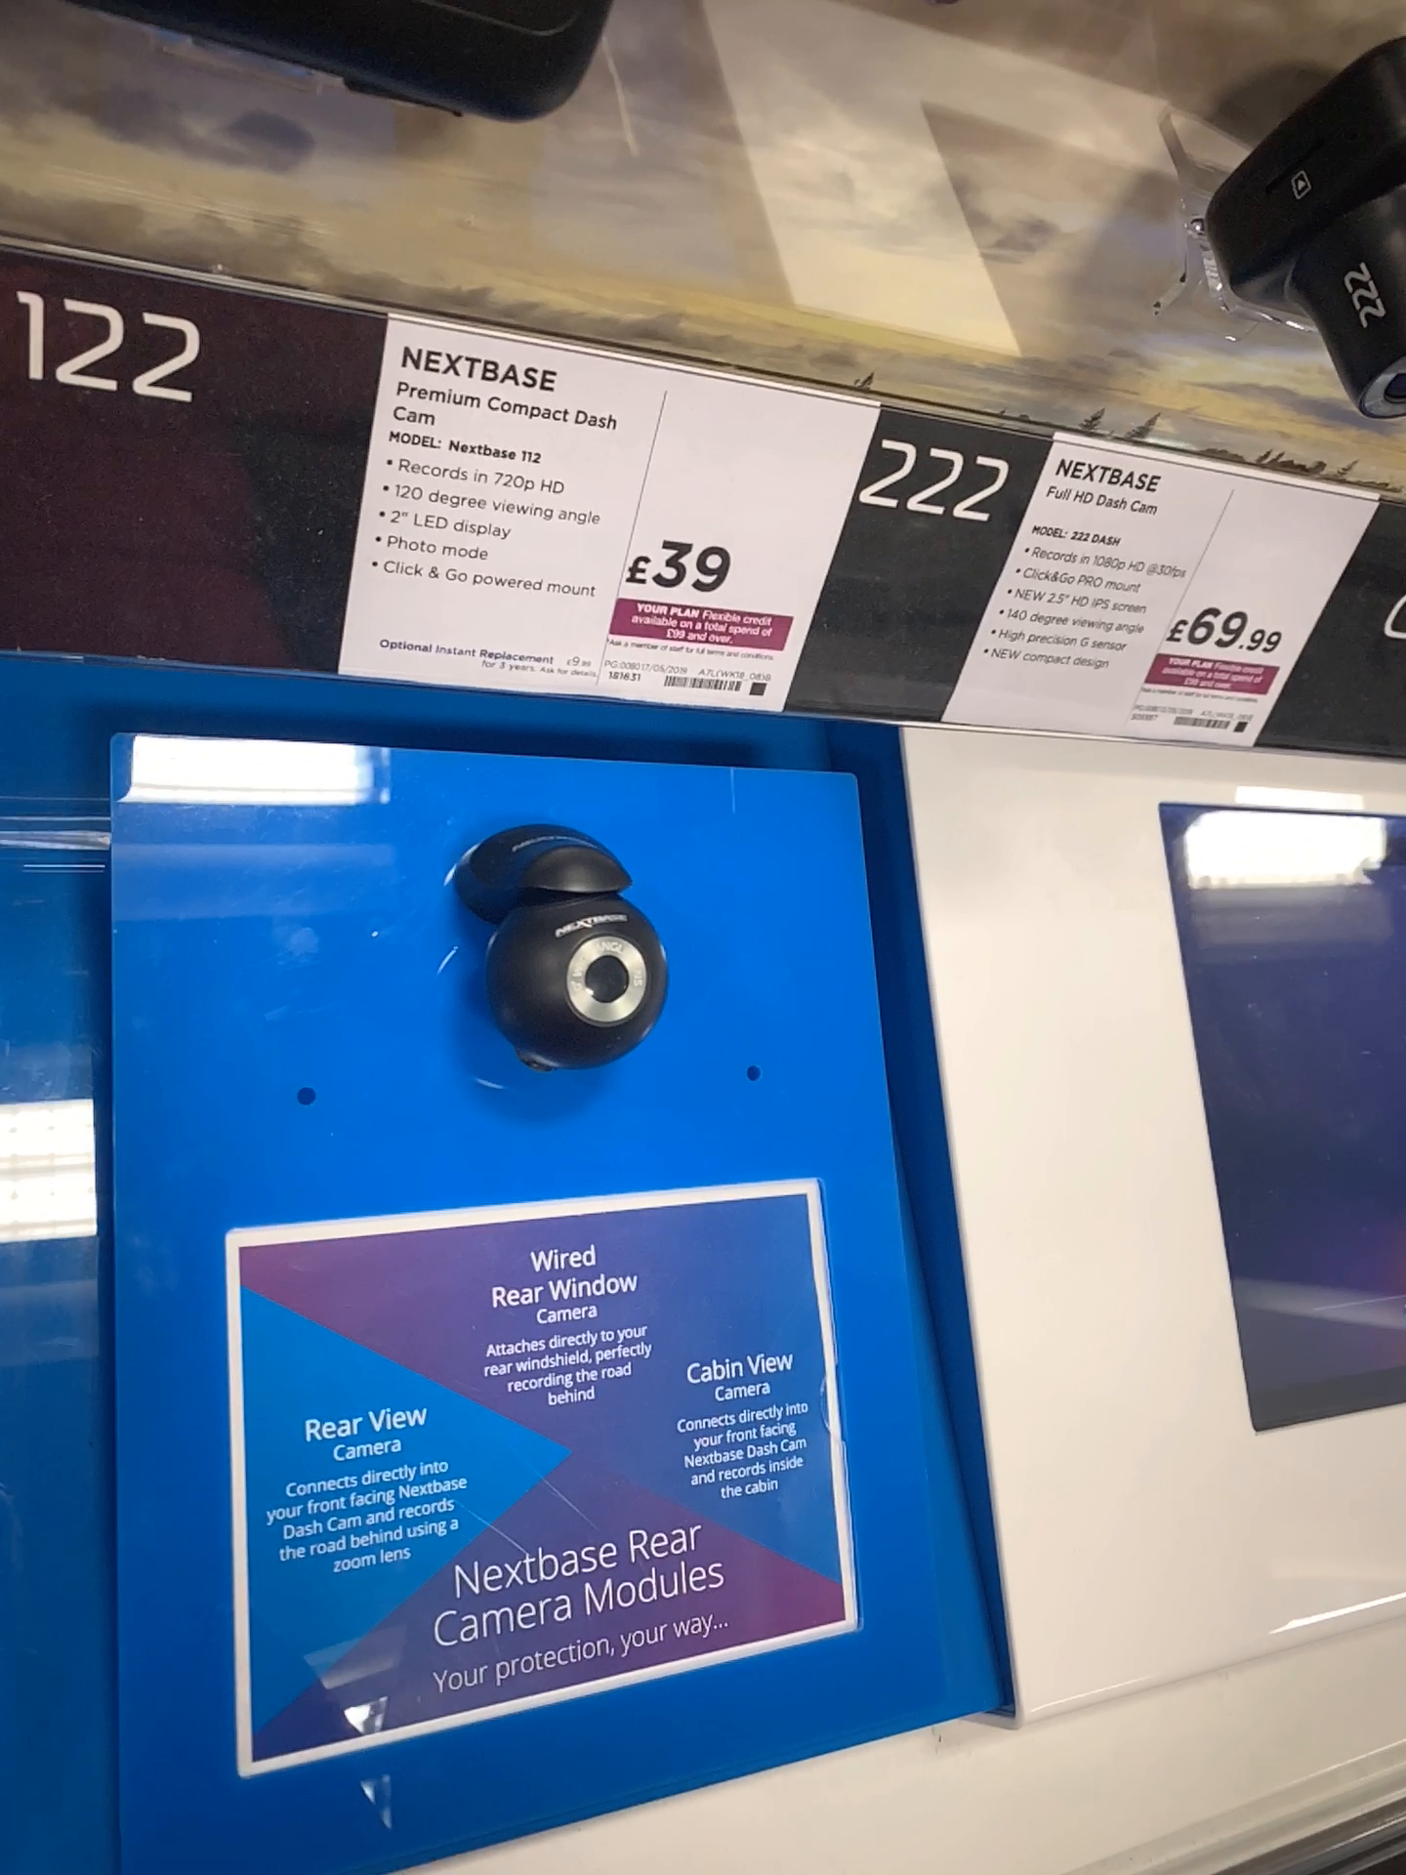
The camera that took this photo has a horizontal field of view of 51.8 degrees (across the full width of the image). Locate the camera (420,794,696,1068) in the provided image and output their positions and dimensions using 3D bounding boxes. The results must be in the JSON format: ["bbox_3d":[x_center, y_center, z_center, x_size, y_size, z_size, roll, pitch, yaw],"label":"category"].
[{"bbox_3d":[-0.031,0.000,0.295,0.040,0.050,0.050,-1,86,-25],"label":"camera"}]
